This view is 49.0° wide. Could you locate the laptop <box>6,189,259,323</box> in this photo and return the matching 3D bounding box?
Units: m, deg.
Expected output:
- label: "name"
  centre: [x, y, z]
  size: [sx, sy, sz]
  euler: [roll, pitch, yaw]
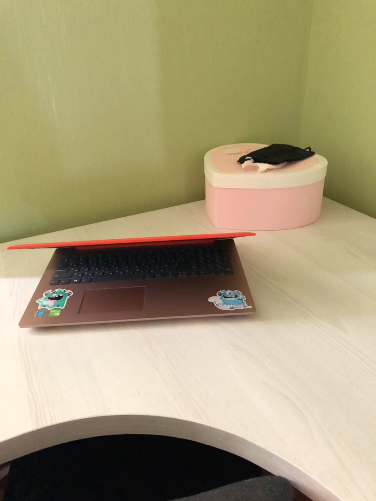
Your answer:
- label: "laptop"
  centre: [-0.083, -0.003, 0.723]
  size: [0.366, 0.112, 0.233]
  euler: [-3, 29, -1]
